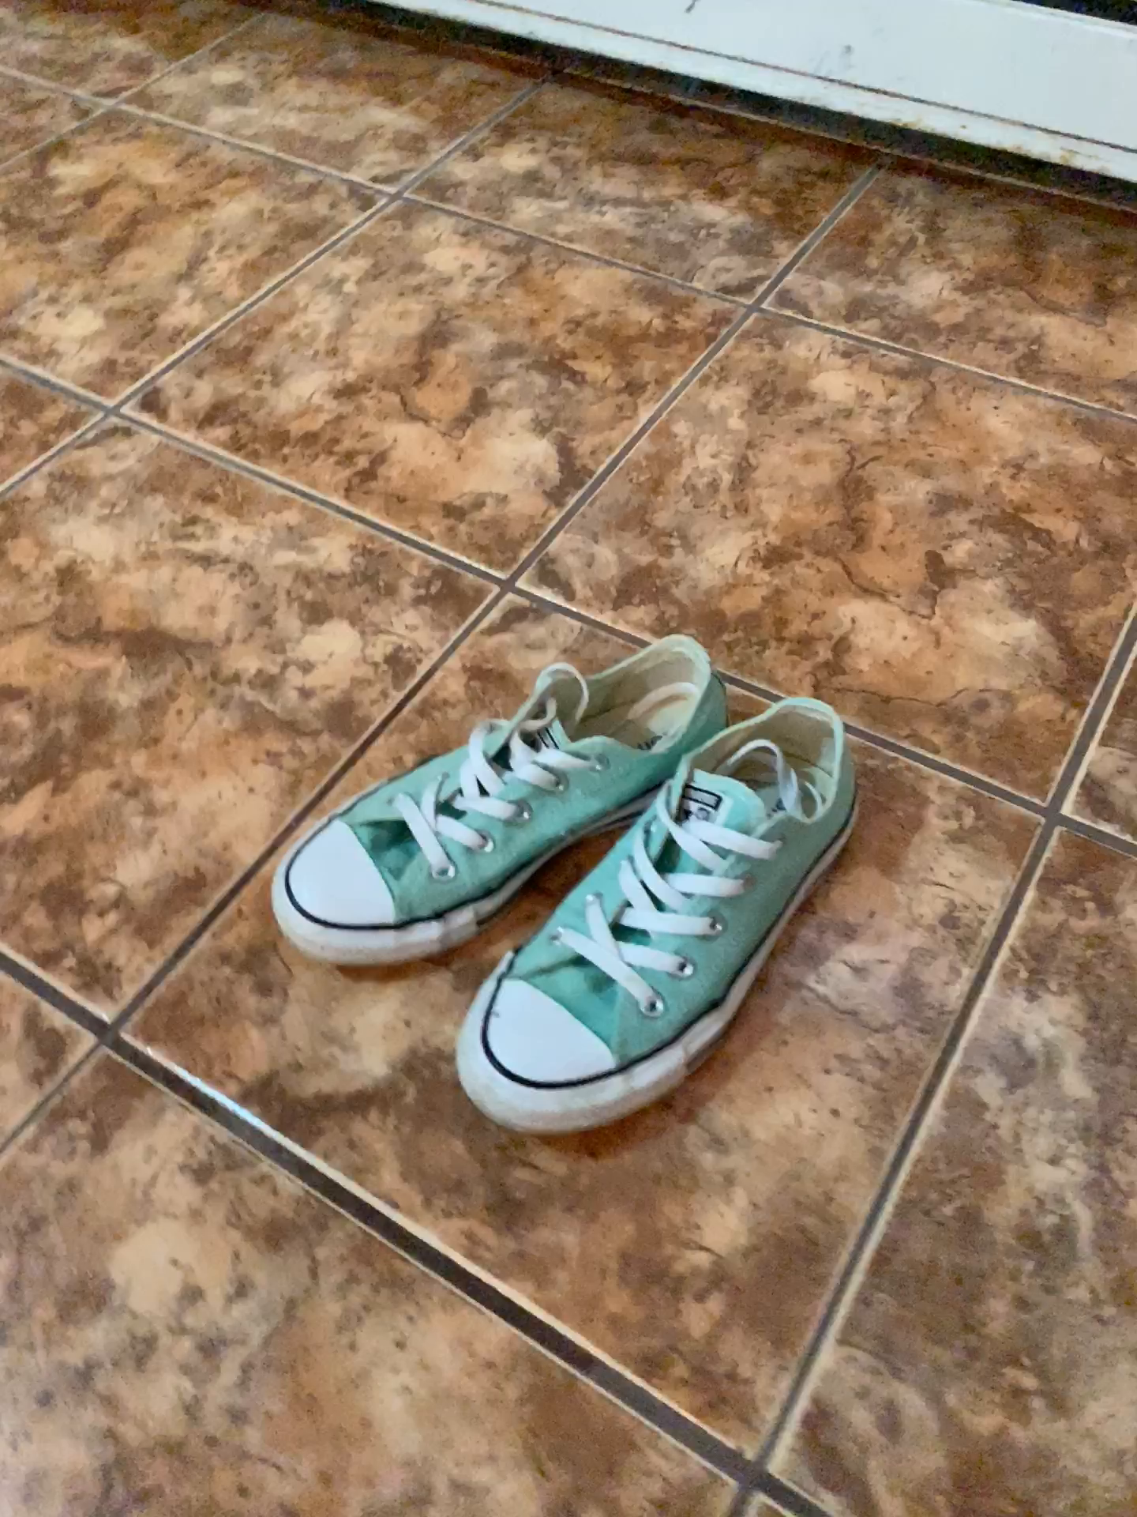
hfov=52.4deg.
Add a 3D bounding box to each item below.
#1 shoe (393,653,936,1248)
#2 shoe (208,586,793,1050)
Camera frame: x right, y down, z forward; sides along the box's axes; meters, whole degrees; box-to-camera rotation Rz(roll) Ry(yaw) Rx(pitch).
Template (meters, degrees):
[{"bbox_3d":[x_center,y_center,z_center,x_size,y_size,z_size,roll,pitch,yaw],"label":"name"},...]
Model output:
[{"bbox_3d":[0.049,0.073,0.509,0.095,0.084,0.244,33,59,24],"label":"shoe"},{"bbox_3d":[-0.028,0.023,0.552,0.244,0.094,0.098,-24,55,-17],"label":"shoe"}]
